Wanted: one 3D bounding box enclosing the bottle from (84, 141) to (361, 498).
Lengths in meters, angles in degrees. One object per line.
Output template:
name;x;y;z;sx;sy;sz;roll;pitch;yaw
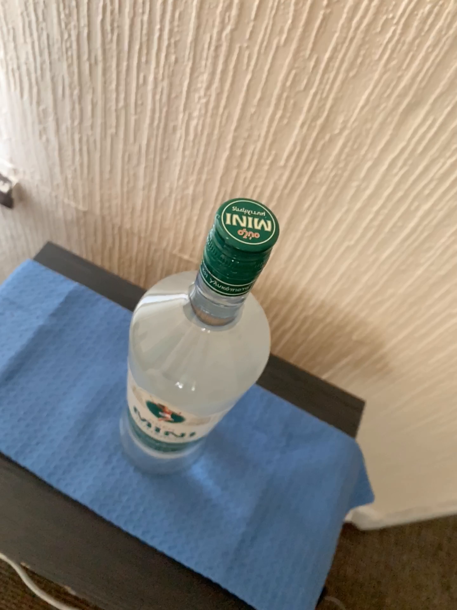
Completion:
bottle;-0.032;0.052;0.324;0.090;0.318;0.070;29;58;3
